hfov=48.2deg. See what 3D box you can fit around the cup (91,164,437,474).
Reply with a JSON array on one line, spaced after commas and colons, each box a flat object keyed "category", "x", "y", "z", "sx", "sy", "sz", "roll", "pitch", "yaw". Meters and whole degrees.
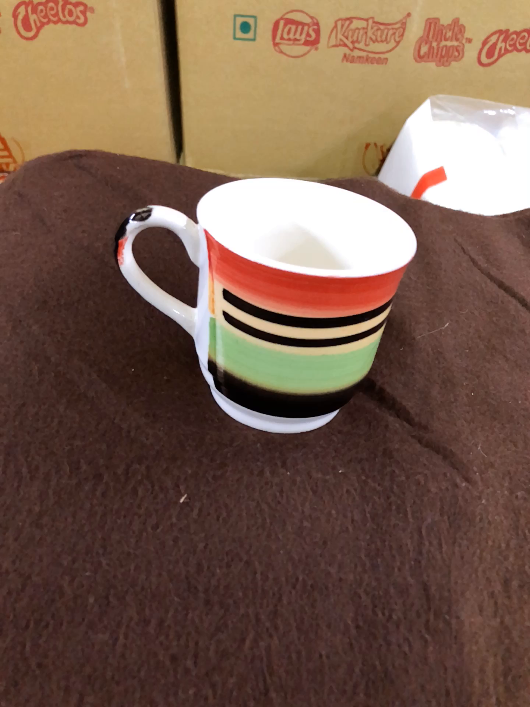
[{"category": "cup", "x": 0.001, "y": -0.015, "z": 0.201, "sx": 0.090, "sy": 0.070, "sz": 0.070, "roll": 6, "pitch": 35, "yaw": 3}]
